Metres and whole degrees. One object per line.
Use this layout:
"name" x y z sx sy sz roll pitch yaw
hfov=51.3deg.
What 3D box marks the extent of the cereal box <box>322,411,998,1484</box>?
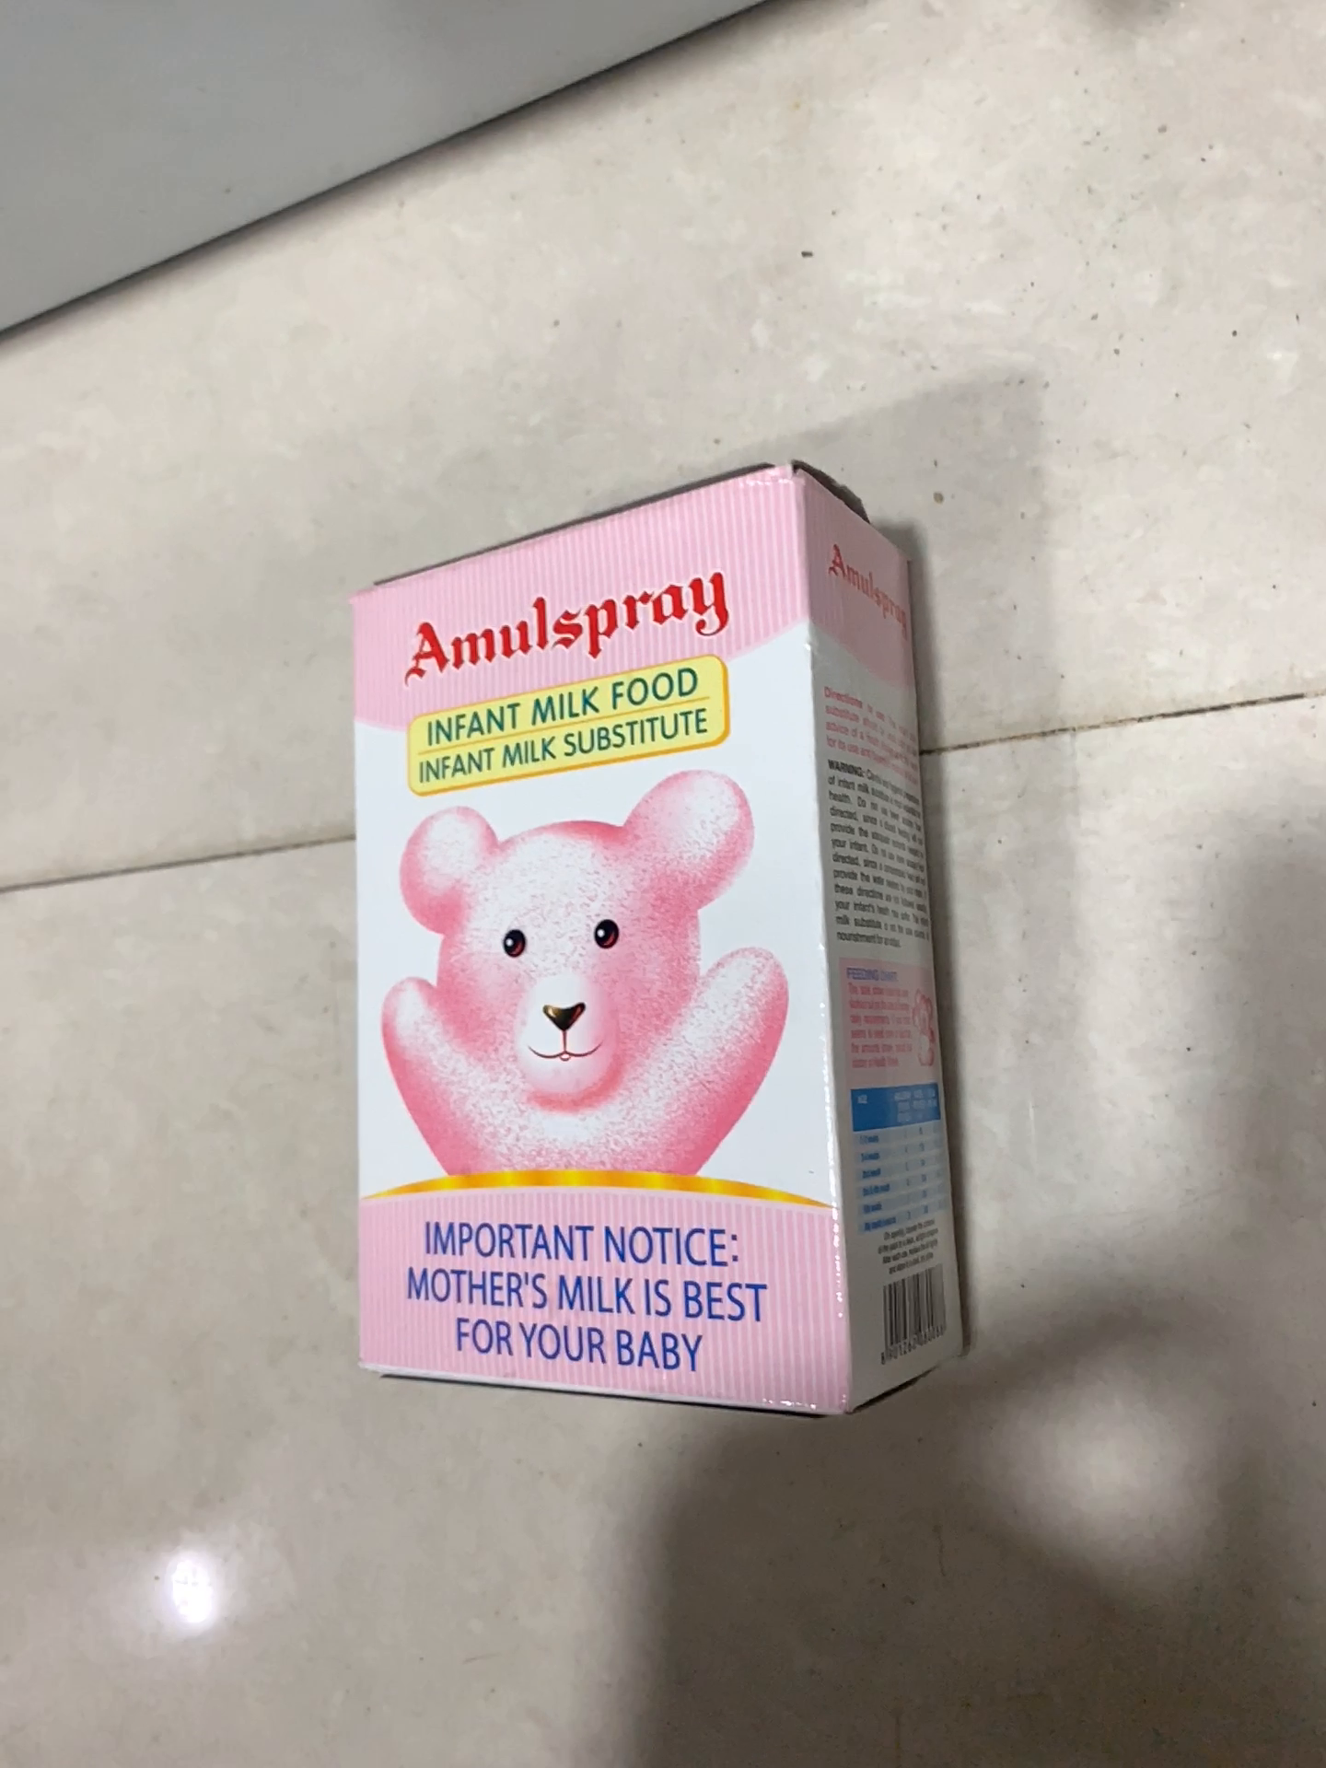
"cereal box" -0.003 0.012 0.223 0.090 0.050 0.140 -7 81 30
